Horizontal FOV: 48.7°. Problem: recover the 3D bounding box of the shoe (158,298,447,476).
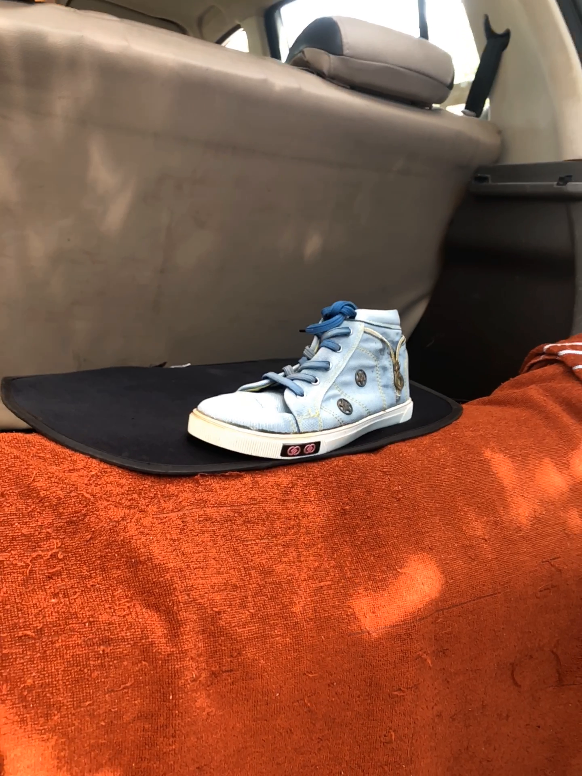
[{"bbox_3d":[0.022,-0.018,0.588,0.110,0.110,0.261,19,18,38],"label":"shoe"}]
